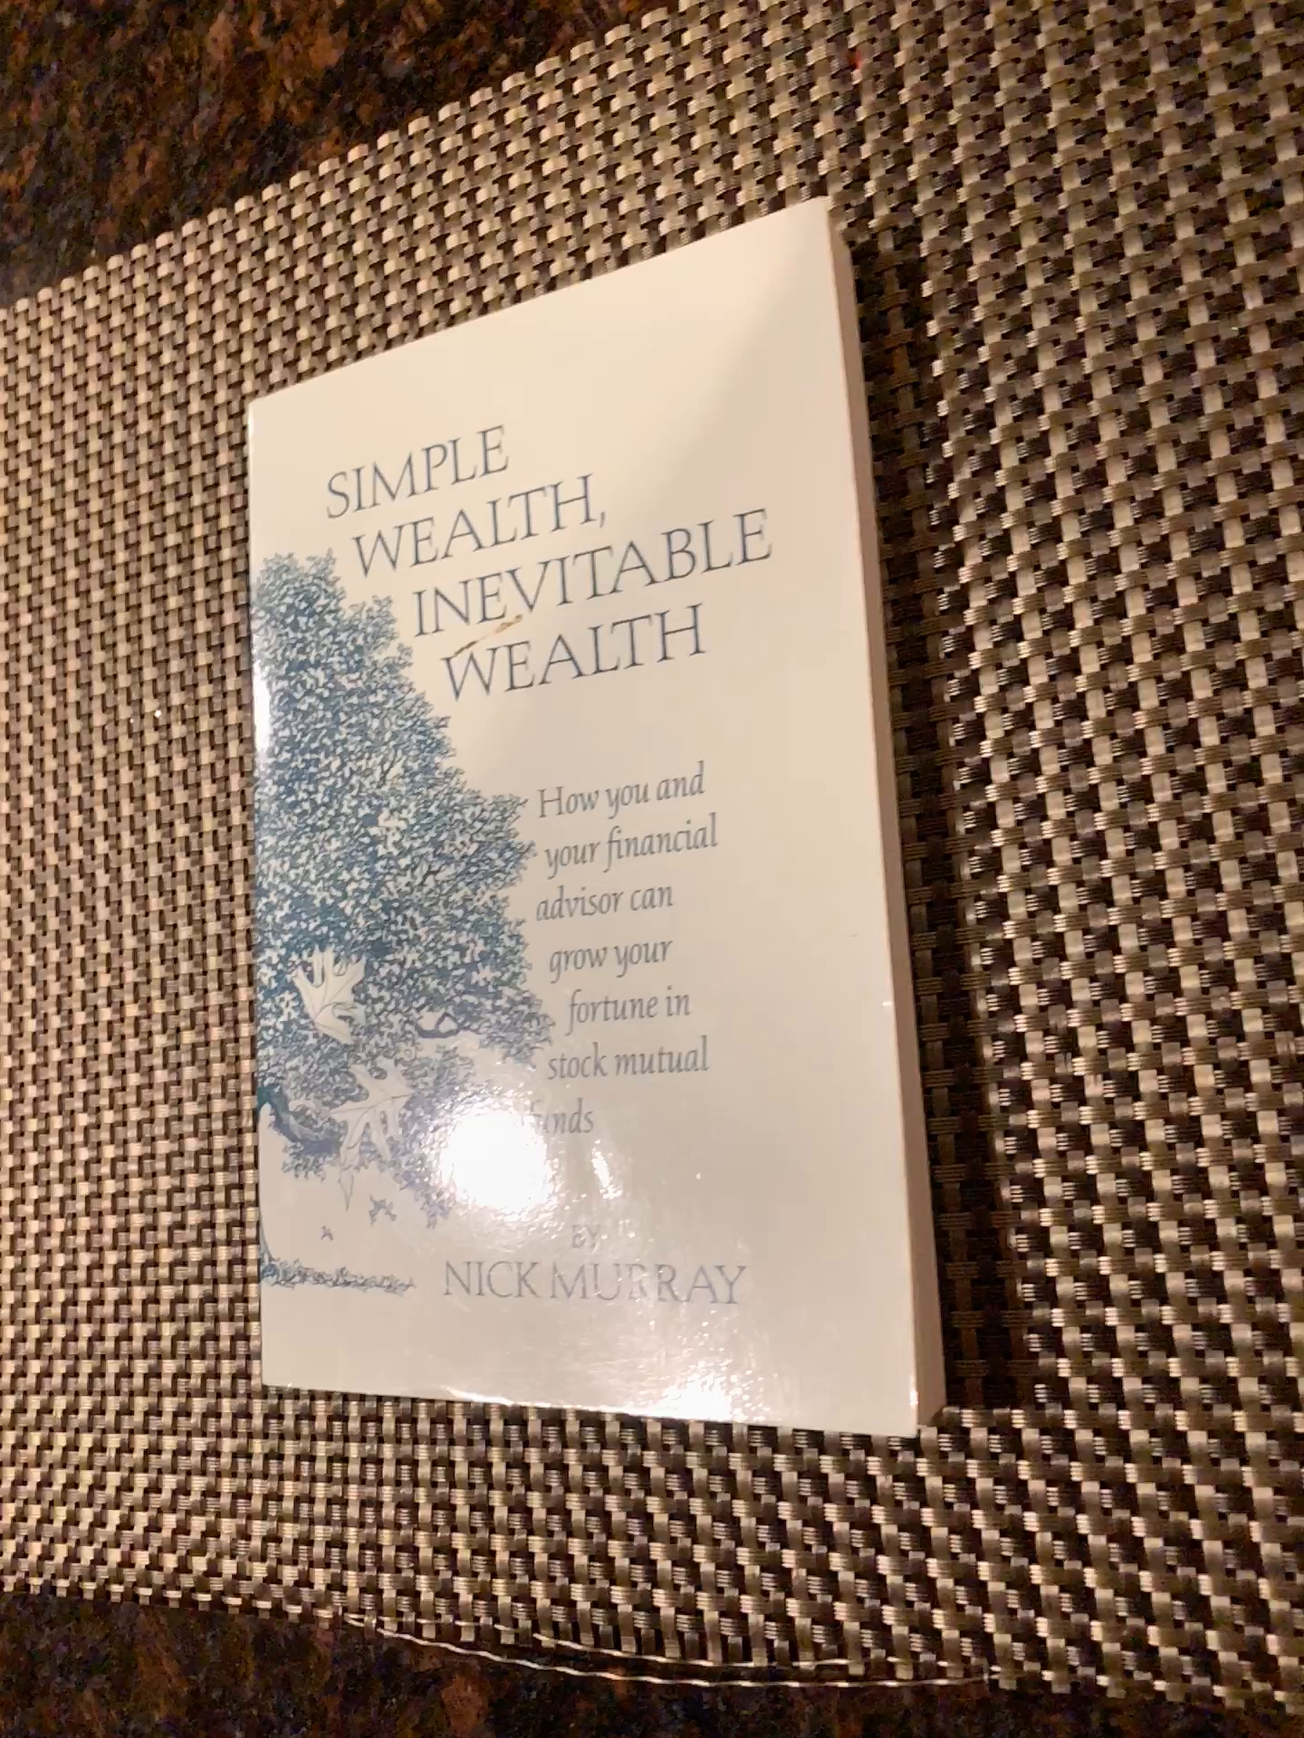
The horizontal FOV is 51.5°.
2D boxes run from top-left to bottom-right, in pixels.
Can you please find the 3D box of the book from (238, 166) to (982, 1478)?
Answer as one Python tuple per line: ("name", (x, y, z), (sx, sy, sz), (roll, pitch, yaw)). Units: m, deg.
("book", (-0.018, -0.006, 0.256), (0.141, 0.021, 0.210), (-6, 83, 28))
